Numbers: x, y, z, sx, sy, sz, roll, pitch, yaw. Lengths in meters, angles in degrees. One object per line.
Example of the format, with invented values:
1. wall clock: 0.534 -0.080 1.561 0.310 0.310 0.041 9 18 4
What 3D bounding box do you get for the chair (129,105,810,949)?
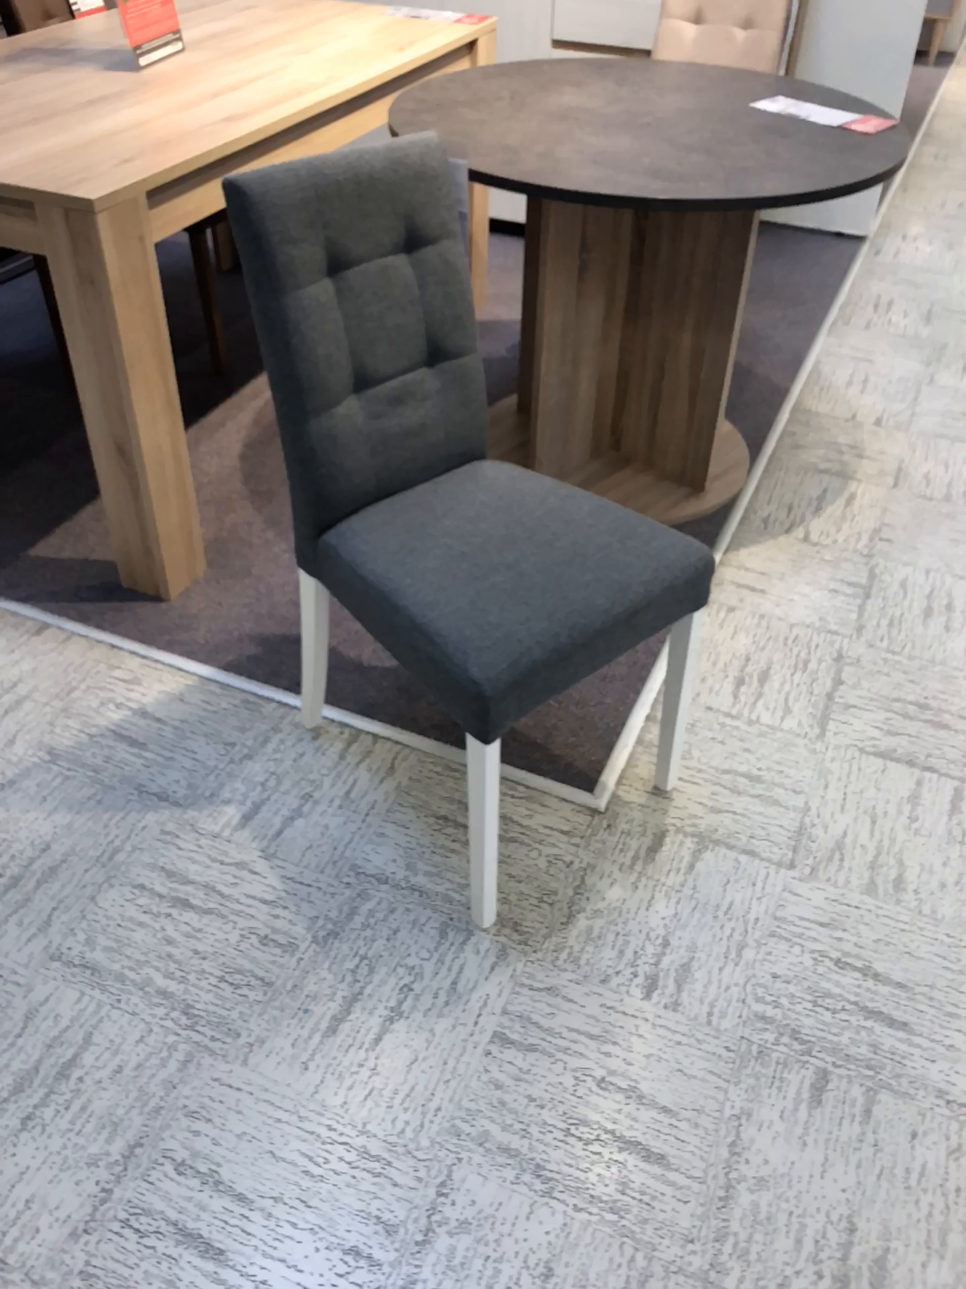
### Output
1. chair: -0.037 -0.165 1.395 0.462 0.825 0.581 -28 48 -31
